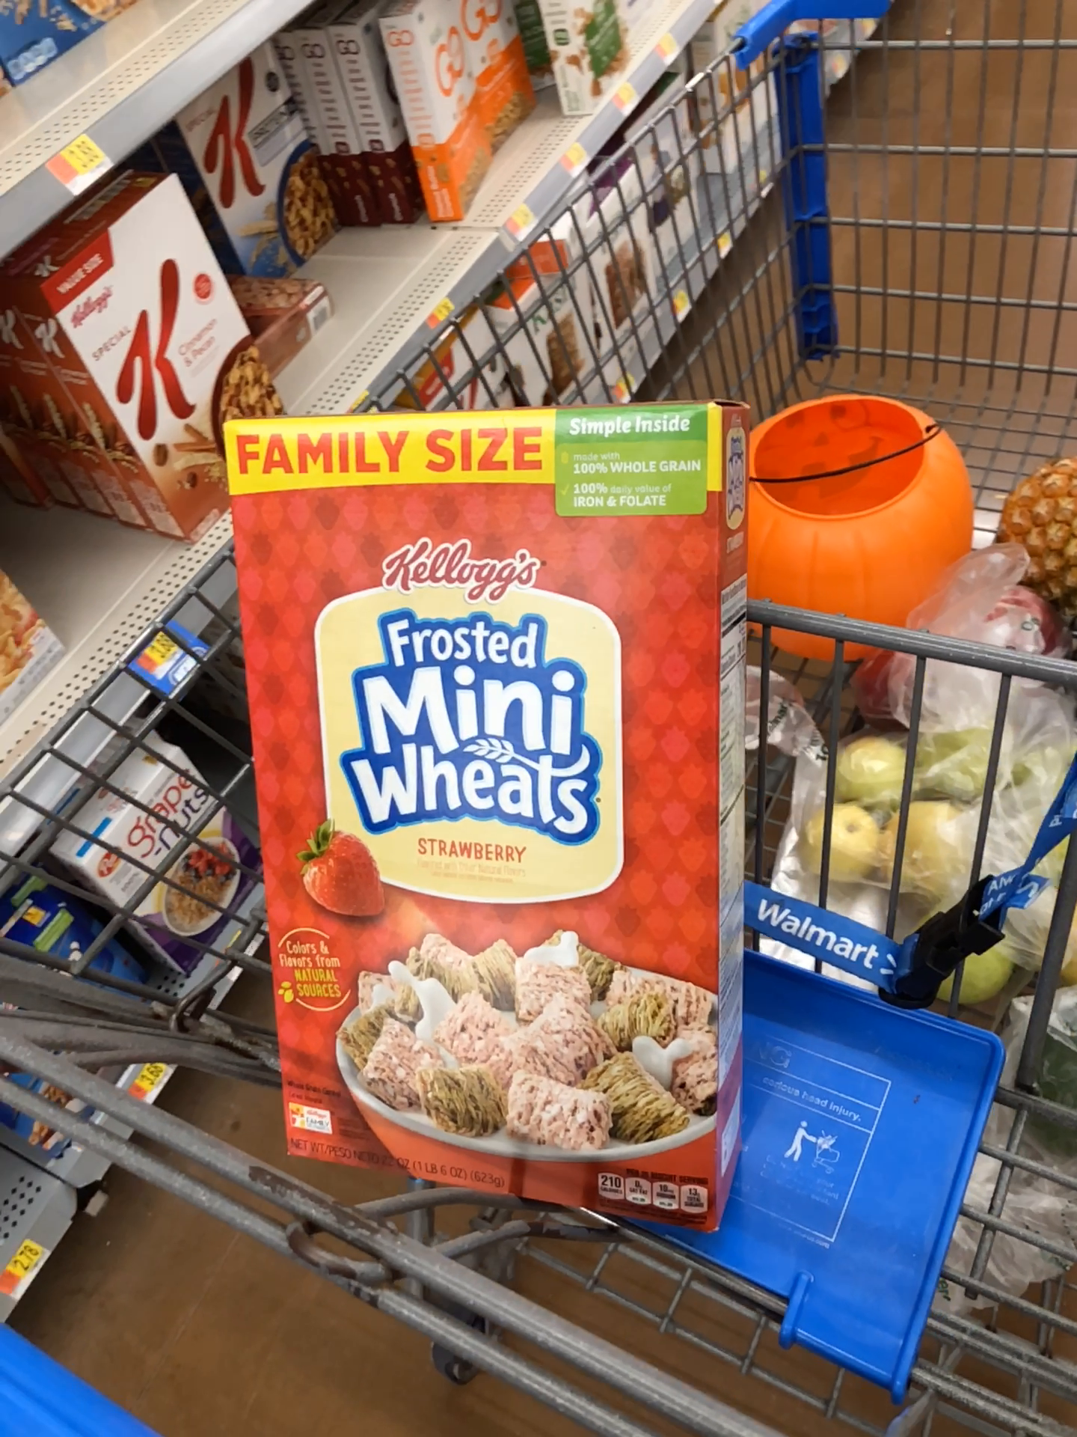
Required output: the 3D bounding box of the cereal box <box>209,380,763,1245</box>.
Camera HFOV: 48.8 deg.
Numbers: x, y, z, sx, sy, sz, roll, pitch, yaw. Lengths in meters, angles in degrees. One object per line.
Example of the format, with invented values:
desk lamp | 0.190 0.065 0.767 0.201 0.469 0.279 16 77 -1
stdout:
cereal box | -0.015 0.034 0.487 0.200 0.320 0.070 2 13 19
